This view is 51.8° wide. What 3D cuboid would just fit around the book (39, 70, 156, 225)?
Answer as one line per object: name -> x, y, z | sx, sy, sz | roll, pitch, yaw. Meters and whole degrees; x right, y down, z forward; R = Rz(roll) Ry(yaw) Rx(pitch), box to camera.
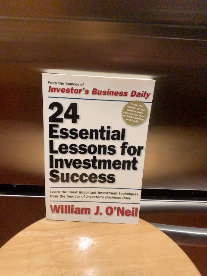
book -> -0.013, 0.021, 0.322 | 0.150, 0.229, 0.030 | 3, 17, 1
